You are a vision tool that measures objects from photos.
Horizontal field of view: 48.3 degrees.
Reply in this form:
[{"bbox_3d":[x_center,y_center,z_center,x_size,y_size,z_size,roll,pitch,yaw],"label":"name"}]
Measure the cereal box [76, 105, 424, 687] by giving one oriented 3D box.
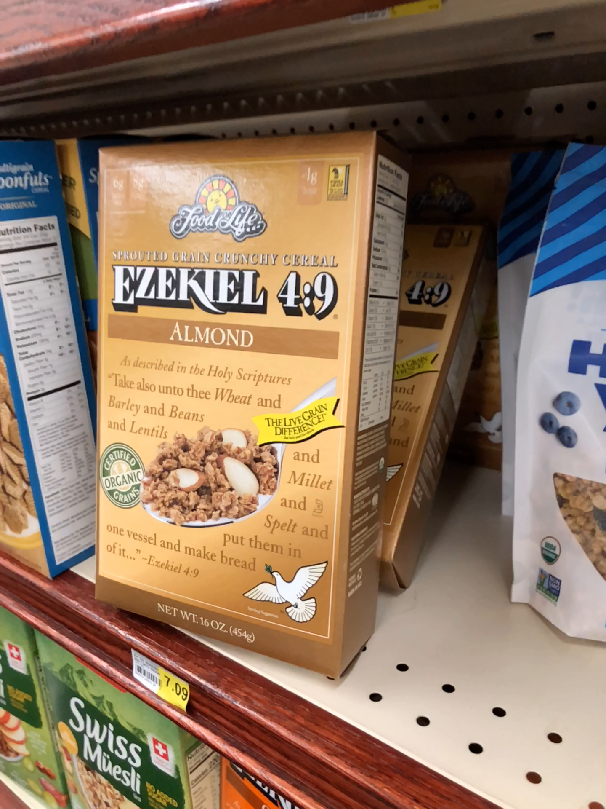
[{"bbox_3d":[-0.030,-0.008,0.310,0.140,0.220,0.060,7,9,26],"label":"cereal box"}]
